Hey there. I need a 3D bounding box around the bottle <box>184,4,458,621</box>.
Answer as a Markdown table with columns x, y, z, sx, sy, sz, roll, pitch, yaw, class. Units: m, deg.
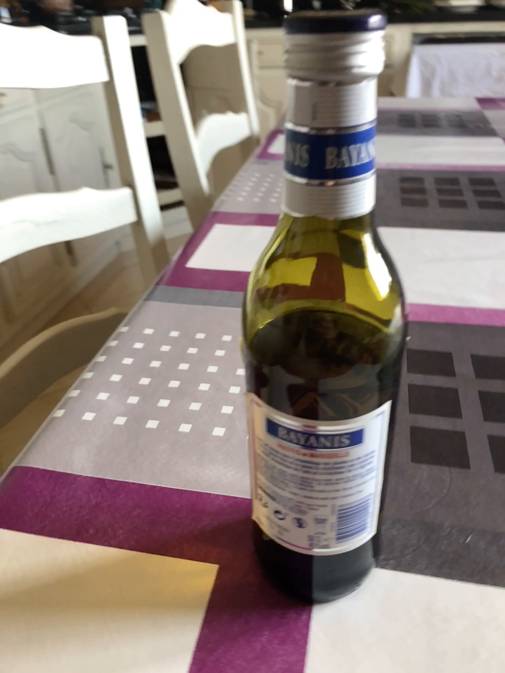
| x | y | z | sx | sy | sz | roll | pitch | yaw | class |
| --- | --- | --- | --- | --- | --- | --- | --- | --- | --- |
| 0.027 | 0.010 | 0.240 | 0.070 | 0.258 | 0.070 | -2 | 32 | 1 | bottle |
